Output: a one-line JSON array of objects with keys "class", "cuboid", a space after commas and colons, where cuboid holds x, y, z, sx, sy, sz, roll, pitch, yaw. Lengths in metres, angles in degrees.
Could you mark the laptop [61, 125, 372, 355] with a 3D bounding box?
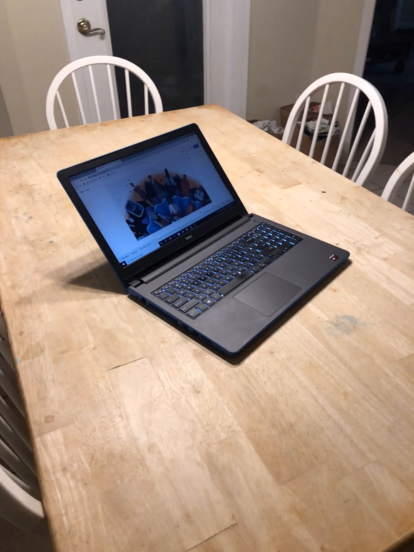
[{"class": "laptop", "cuboid": [0.017, -0.112, 0.865, 0.419, 0.174, 0.368, 27, 45, 33]}]
